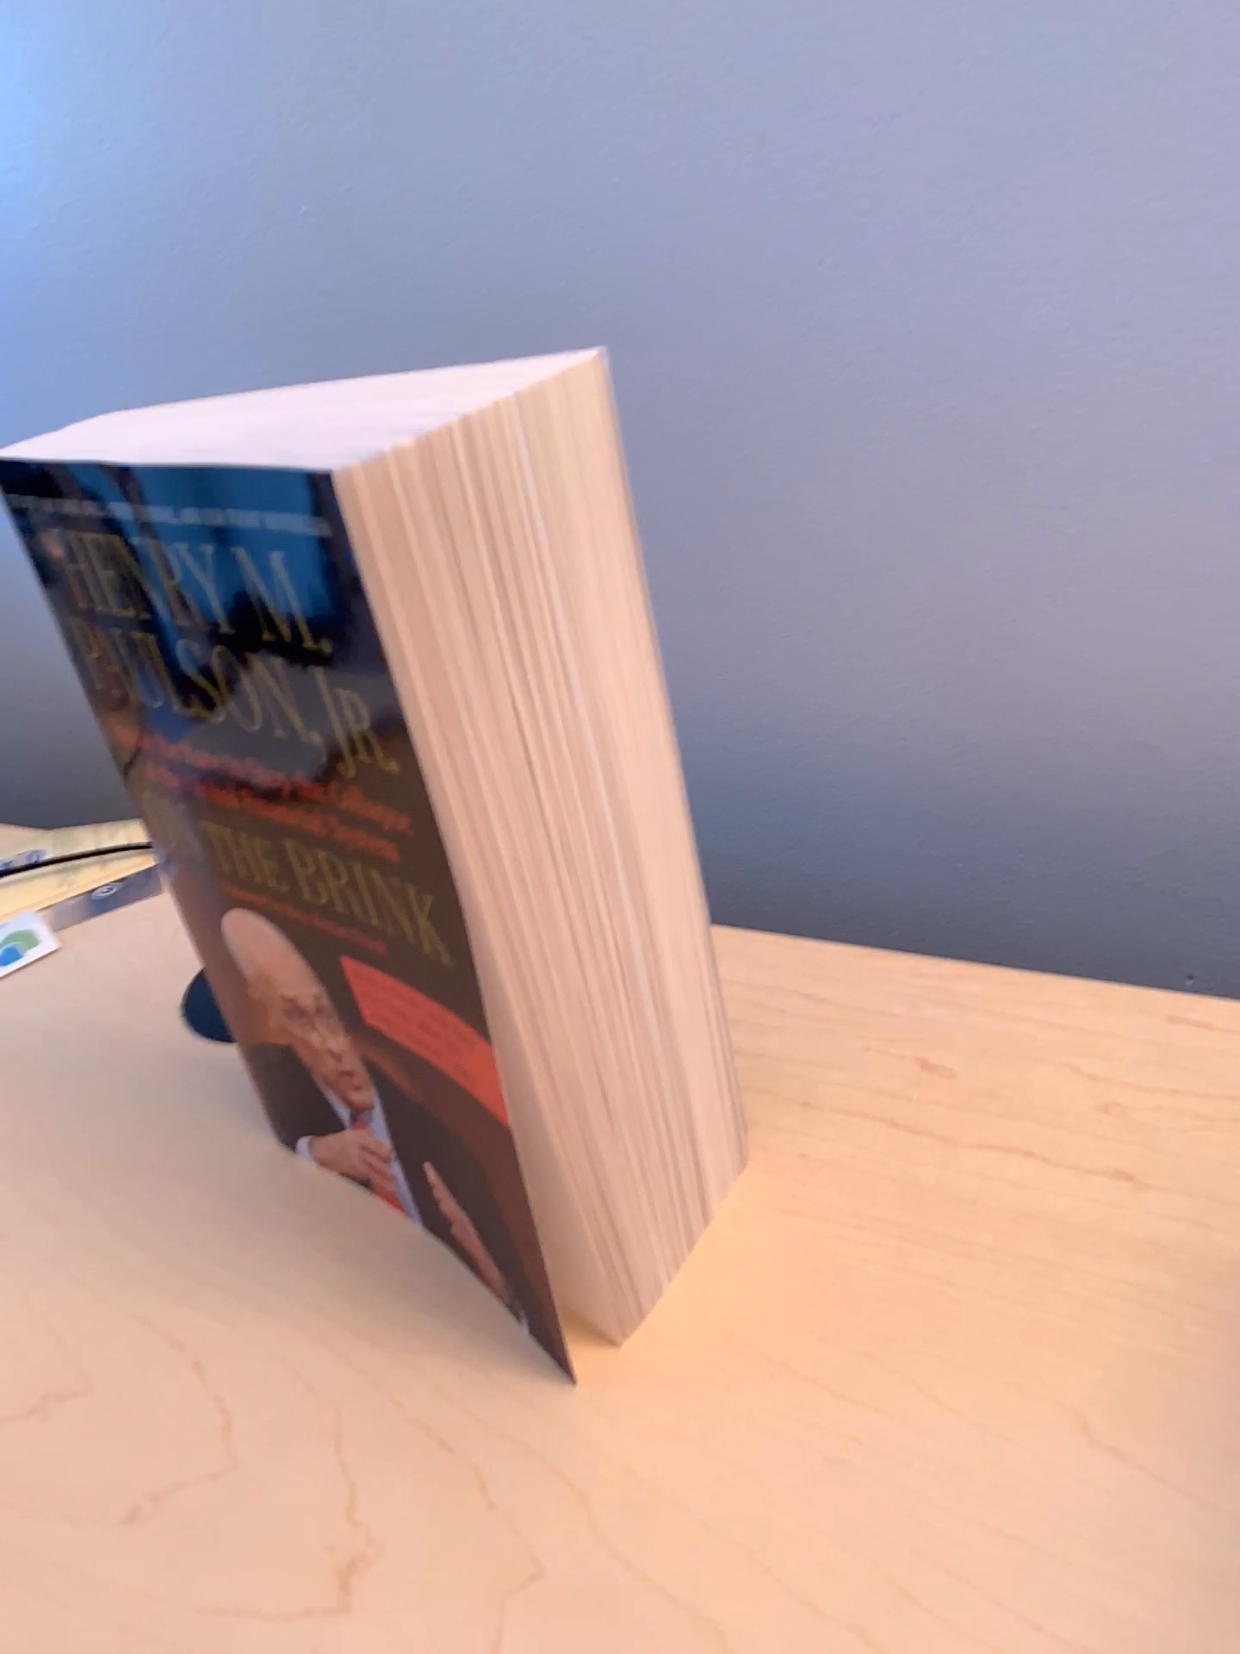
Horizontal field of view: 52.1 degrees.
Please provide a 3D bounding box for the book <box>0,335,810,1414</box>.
[{"bbox_3d":[-0.059,0.010,0.326,0.168,0.228,0.082,8,33,35],"label":"book"}]
